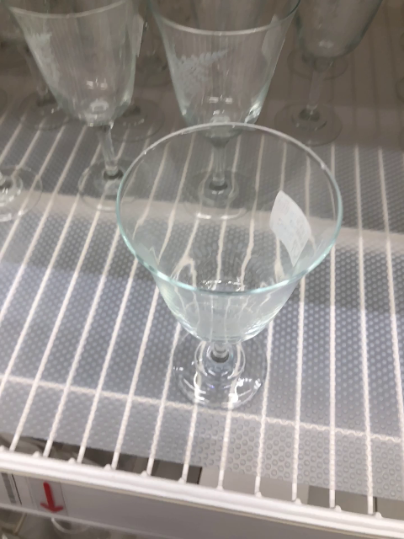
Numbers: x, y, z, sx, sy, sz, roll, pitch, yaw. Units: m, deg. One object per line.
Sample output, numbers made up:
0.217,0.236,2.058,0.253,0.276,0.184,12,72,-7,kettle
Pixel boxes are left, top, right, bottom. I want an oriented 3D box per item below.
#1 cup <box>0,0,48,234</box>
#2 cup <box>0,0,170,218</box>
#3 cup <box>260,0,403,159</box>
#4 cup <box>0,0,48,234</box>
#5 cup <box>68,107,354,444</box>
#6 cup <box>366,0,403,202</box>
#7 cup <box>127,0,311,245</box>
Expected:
-0.164,-0.102,0.304,0.069,0.146,0.067,0,56,1,cup
-0.069,-0.117,0.312,0.079,0.146,0.087,0,56,1,cup
0.100,-0.170,0.338,0.089,0.136,0.086,-1,56,1,cup
-0.164,-0.102,0.304,0.069,0.146,0.067,0,56,1,cup
0.010,0.016,0.231,0.089,0.156,0.086,0,56,1,cup
0.172,-0.127,0.287,0.069,0.126,0.086,29,61,19,cup
0.015,-0.106,0.316,0.087,0.155,0.089,0,56,1,cup
